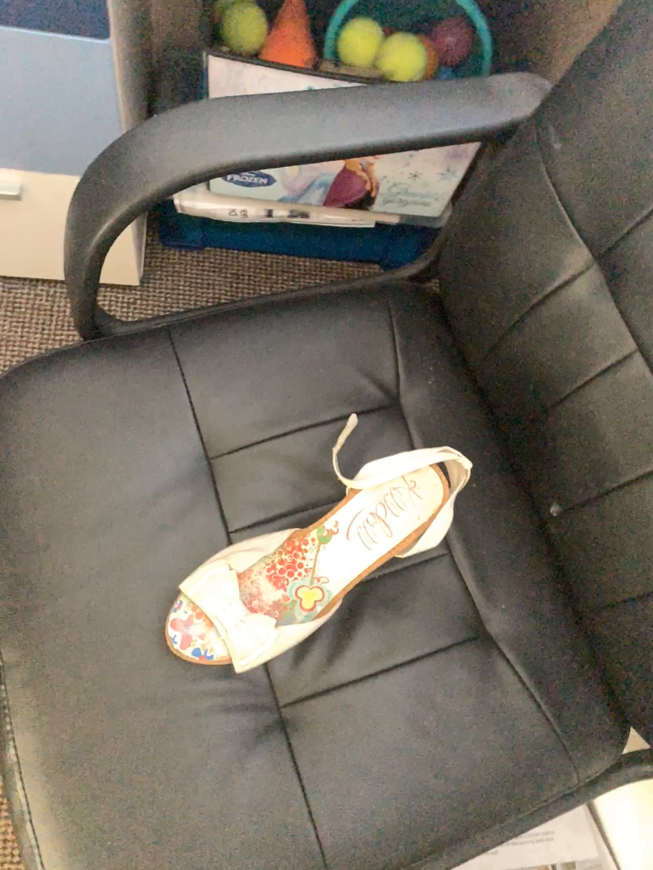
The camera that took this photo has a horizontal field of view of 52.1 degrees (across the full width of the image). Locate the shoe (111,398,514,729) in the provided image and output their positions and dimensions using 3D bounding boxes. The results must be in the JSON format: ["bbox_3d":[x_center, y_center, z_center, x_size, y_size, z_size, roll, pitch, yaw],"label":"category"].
[{"bbox_3d":[-0.017,0.100,0.508,0.241,0.189,0.100,-28,78,-18],"label":"shoe"}]
